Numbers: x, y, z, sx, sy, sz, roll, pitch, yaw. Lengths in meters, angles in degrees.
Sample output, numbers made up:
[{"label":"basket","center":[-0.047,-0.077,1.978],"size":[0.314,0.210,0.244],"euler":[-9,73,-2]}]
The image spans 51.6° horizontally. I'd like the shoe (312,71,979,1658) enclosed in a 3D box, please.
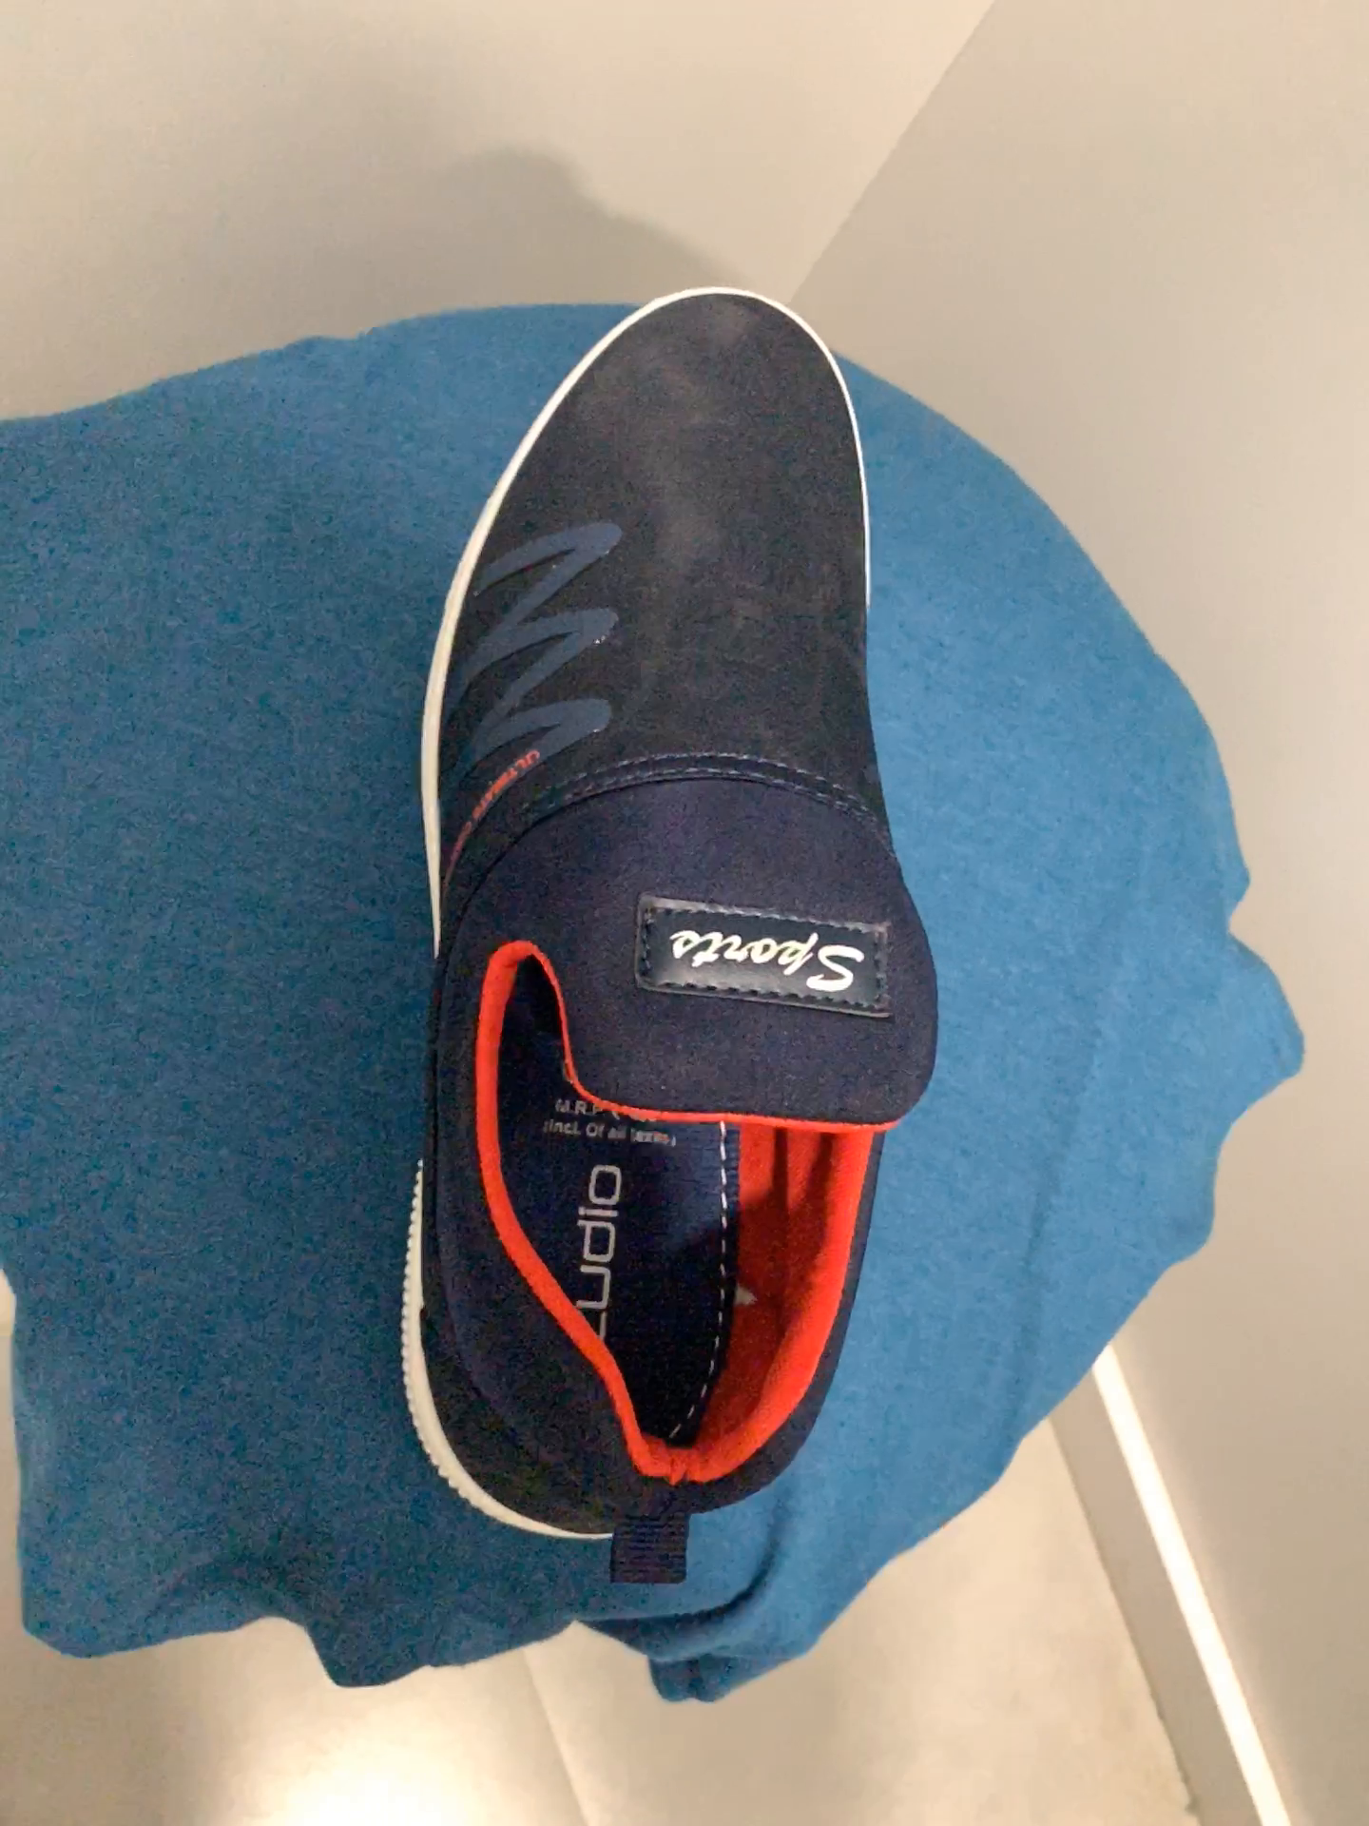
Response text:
[{"label":"shoe","center":[-0.012,-0.007,0.287],"size":[0.090,0.100,0.260],"euler":[7,81,-16]}]
